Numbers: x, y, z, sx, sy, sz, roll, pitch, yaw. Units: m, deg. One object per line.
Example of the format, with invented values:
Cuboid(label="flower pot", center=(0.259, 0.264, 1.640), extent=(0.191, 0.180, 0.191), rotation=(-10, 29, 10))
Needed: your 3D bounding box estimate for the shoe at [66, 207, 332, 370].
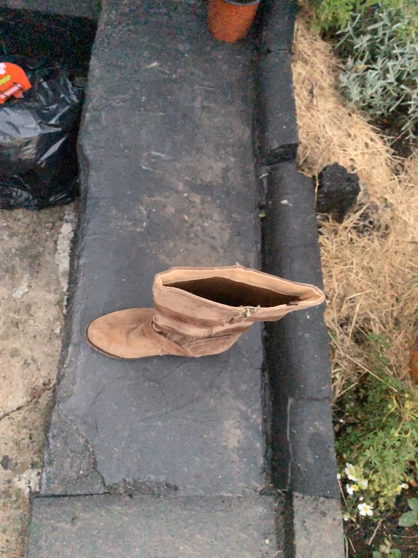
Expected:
Cuboid(label="shoe", center=(-0.041, 0.048, 0.618), extent=(0.270, 0.378, 0.100), rotation=(5, 70, -11))
